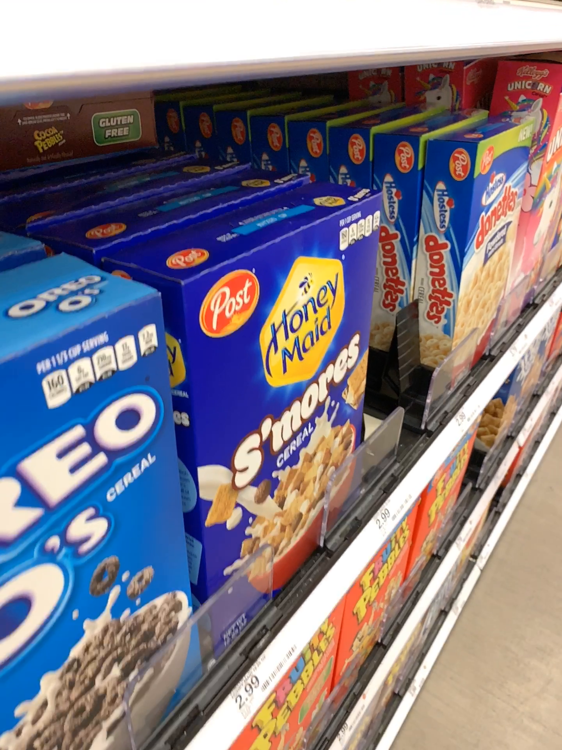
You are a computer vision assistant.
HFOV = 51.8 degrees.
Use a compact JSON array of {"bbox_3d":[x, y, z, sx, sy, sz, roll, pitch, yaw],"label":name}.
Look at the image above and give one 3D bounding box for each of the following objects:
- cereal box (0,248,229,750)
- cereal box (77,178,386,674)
[{"bbox_3d":[-0.112,0.107,0.250,0.070,0.269,0.181,19,36,28],"label":"cereal box"},{"bbox_3d":[-0.014,0.028,0.386,0.060,0.269,0.191,21,37,31],"label":"cereal box"}]
